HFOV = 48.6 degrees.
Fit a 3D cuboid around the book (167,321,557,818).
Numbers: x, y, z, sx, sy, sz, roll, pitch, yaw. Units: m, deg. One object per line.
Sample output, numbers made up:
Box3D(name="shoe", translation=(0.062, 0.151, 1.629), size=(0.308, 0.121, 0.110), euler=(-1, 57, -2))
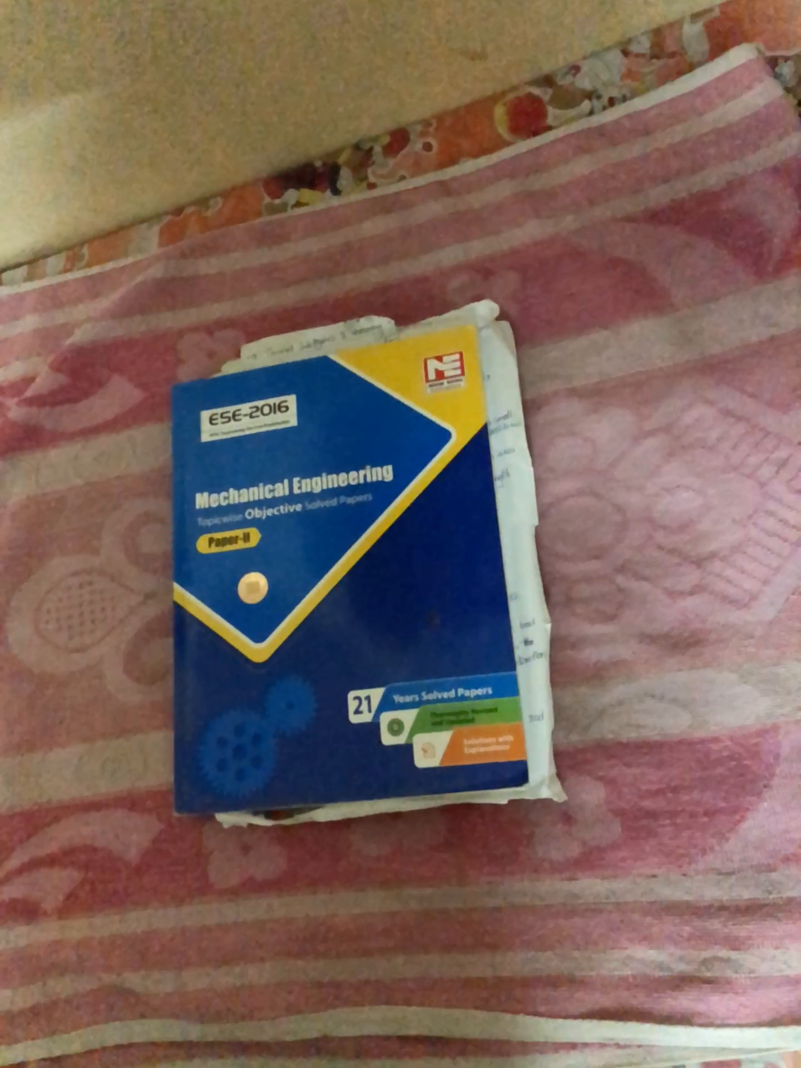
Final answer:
Box3D(name="book", translation=(-0.031, 0.024, 0.545), size=(0.215, 0.055, 0.270), euler=(-8, 74, 13))
